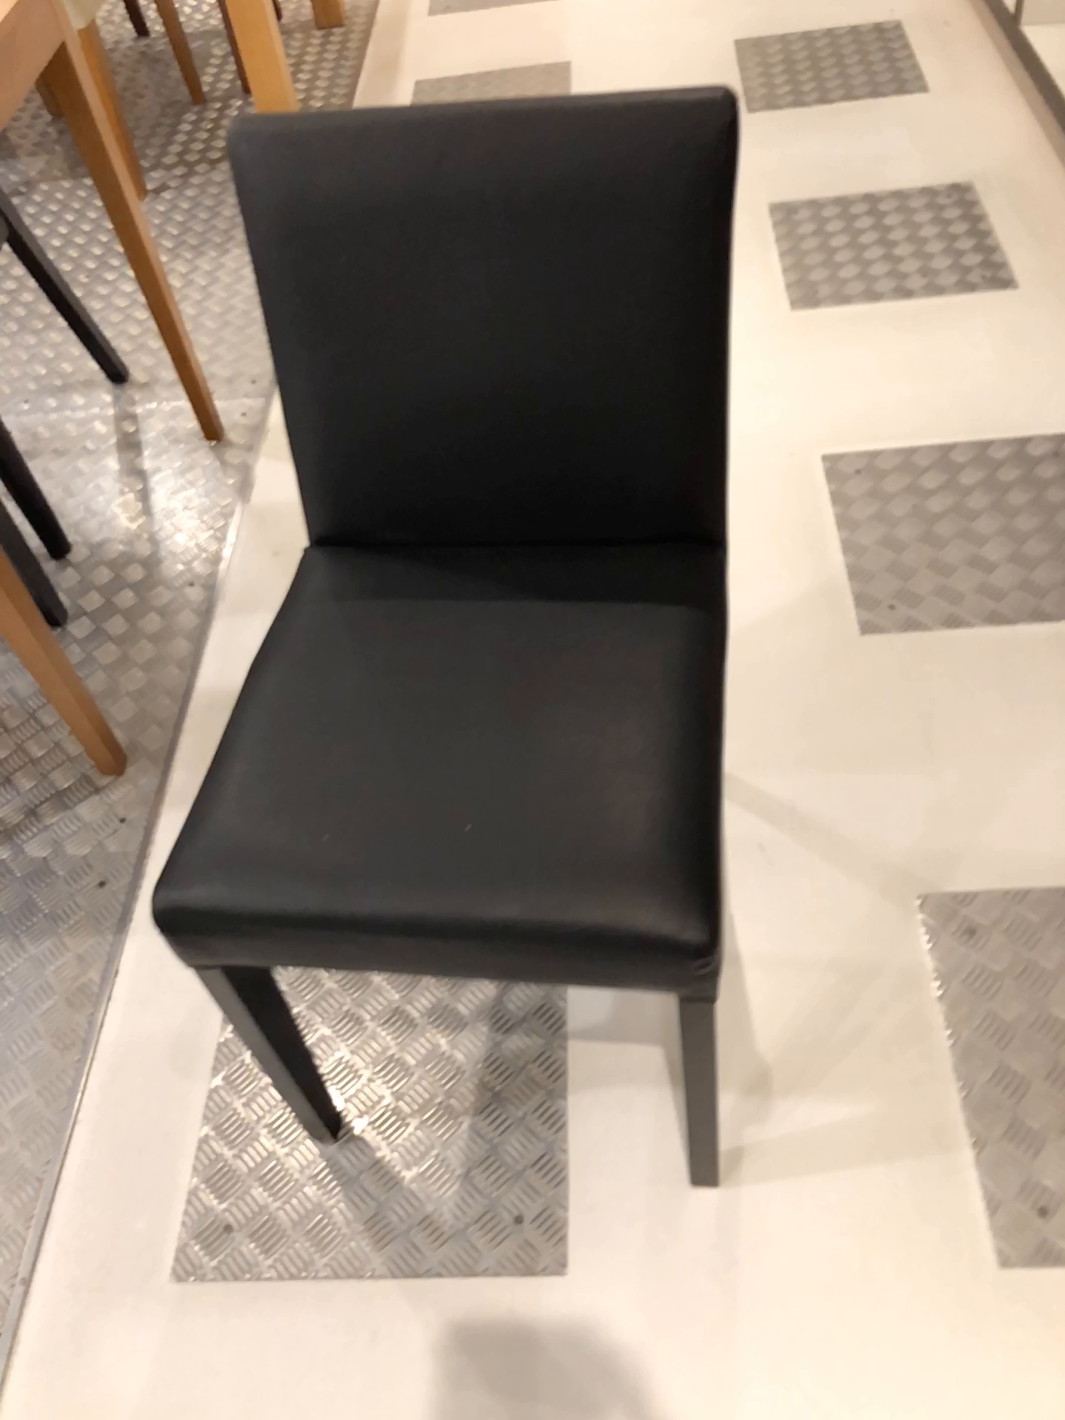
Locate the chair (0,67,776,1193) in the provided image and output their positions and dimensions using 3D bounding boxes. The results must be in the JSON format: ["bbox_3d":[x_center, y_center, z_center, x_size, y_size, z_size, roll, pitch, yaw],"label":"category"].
[{"bbox_3d":[-0.043,-0.011,1.059,0.470,0.825,0.553,2,51,11],"label":"chair"}]
